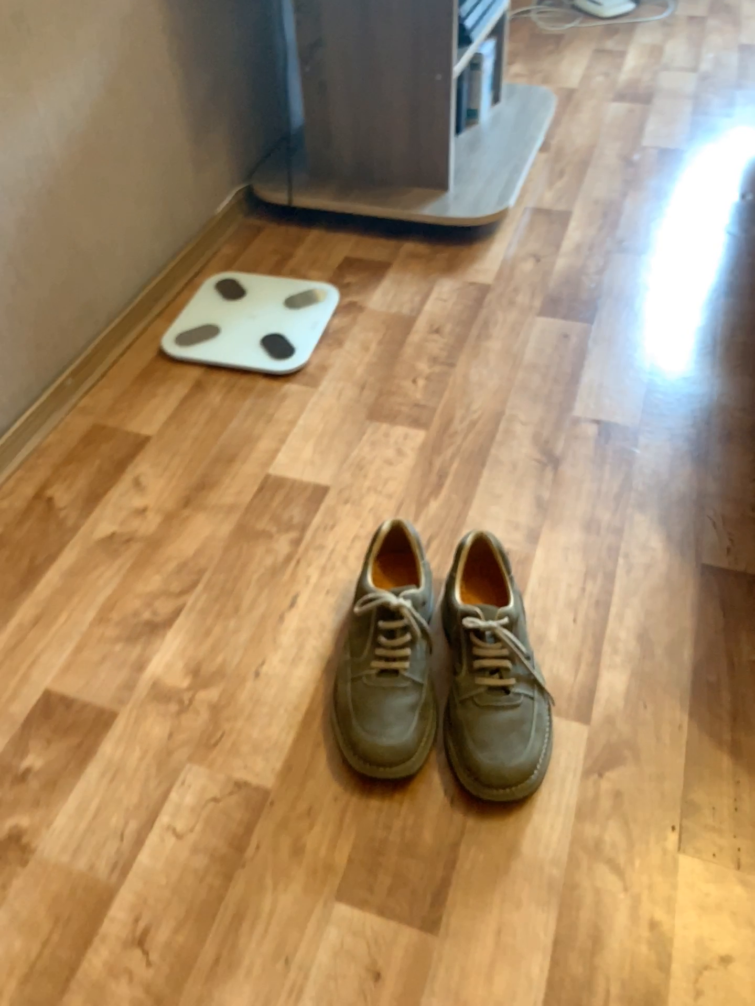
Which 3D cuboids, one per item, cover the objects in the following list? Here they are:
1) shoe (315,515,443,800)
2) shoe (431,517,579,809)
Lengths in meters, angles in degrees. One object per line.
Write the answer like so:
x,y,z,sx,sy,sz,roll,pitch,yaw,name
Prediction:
0.012,0.162,0.874,0.120,0.120,0.291,0,46,4,shoe
0.123,0.161,0.839,0.120,0.110,0.291,-2,46,2,shoe
